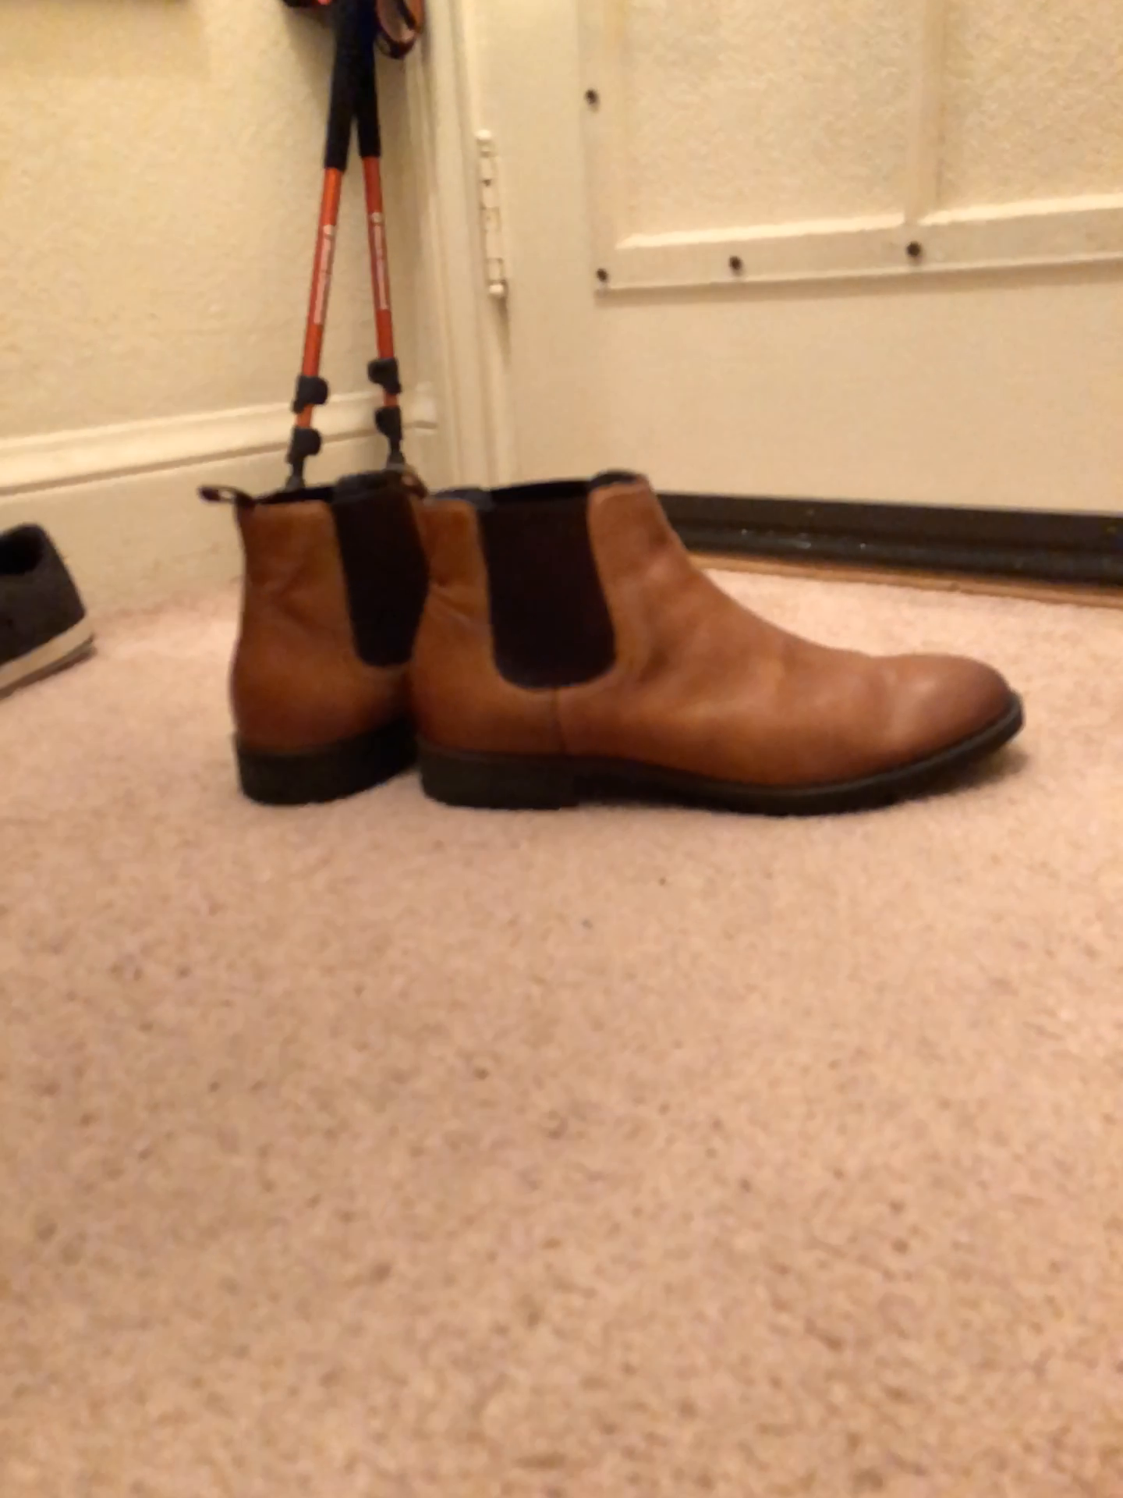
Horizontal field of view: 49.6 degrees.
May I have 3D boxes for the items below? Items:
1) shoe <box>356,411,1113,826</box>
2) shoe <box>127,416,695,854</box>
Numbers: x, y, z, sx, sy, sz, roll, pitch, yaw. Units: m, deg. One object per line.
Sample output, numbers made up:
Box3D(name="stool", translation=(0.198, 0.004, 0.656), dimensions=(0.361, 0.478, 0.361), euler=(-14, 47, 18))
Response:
Box3D(name="shoe", translation=(0.077, -0.064, 0.585), dimensions=(0.312, 0.165, 0.110), euler=(-1, 21, 6))
Box3D(name="shoe", translation=(-0.063, -0.086, 0.694), dimensions=(0.109, 0.165, 0.313), euler=(15, 27, 40))
